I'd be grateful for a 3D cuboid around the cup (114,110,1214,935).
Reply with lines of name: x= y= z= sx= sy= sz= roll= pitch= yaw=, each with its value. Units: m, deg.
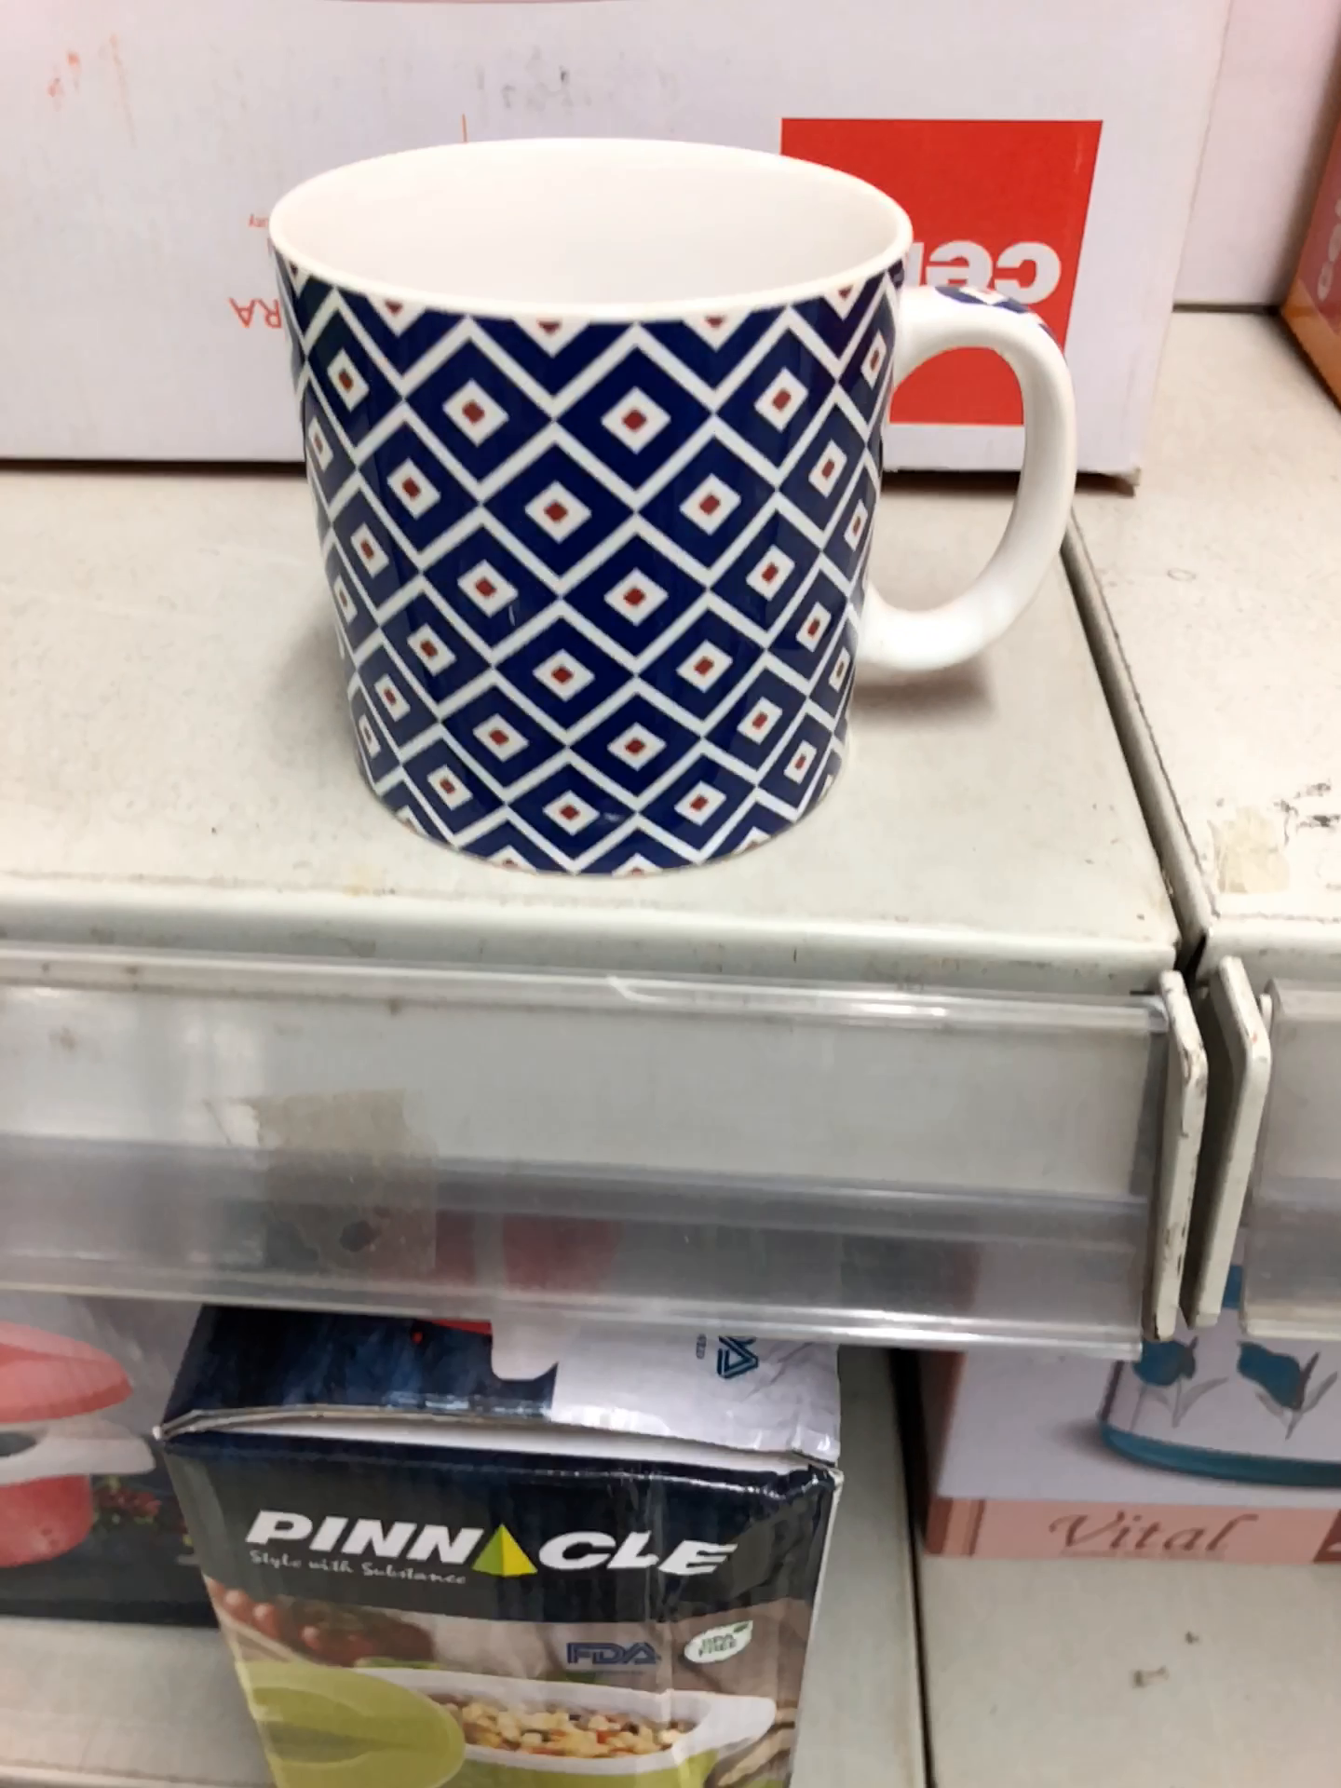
cup: x=0.001 y=-0.053 z=0.206 sx=0.110 sy=0.079 sz=0.081 roll=3 pitch=39 yaw=2
